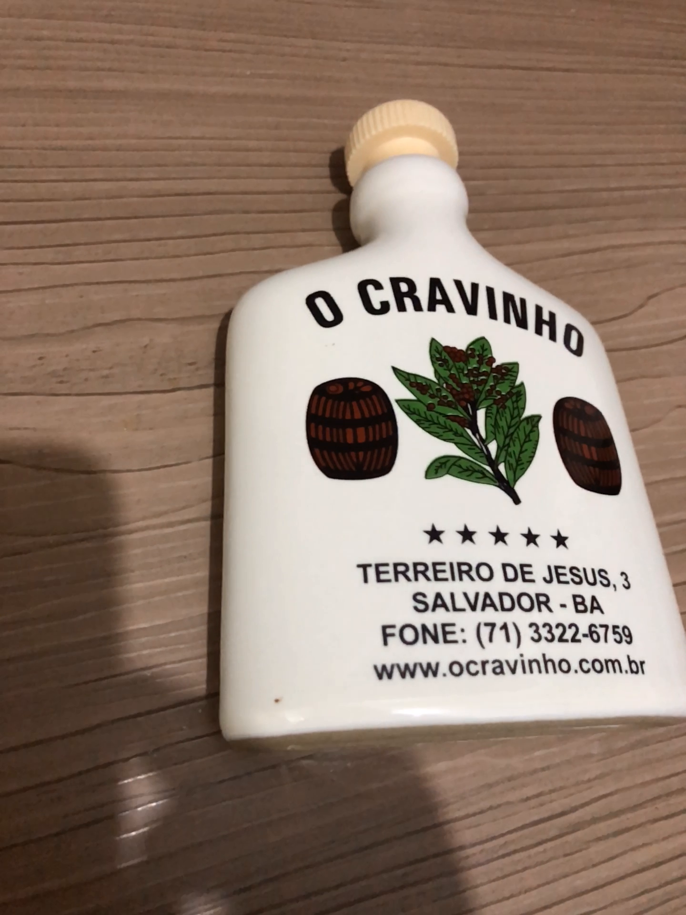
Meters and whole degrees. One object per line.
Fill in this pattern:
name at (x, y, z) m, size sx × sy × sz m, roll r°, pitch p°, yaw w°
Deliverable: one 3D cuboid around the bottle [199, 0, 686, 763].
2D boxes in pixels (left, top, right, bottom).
bottle at (0.021, -0.021, 0.174) m, size 0.100 × 0.040 × 0.160 m, roll 3°, pitch 66°, yaw -16°
